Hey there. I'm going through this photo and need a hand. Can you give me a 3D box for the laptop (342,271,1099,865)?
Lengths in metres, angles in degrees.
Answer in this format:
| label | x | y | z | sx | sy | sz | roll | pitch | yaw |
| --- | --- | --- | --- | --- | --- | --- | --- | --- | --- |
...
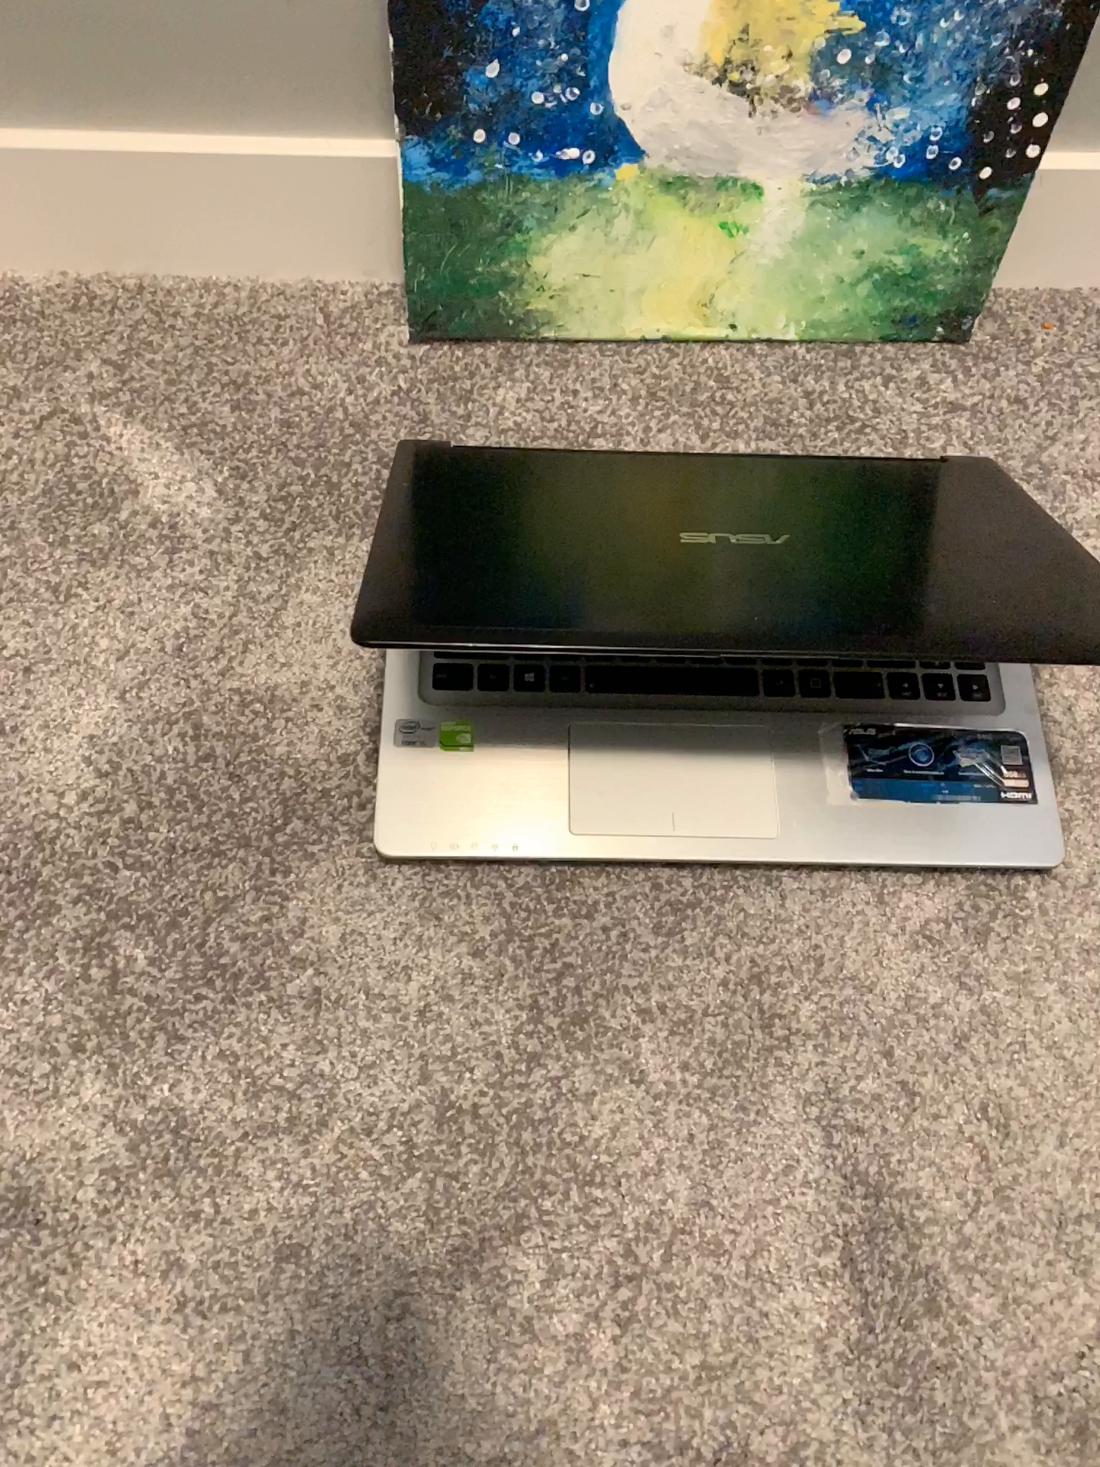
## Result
| label | x | y | z | sx | sy | sz | roll | pitch | yaw |
| --- | --- | --- | --- | --- | --- | --- | --- | --- | --- |
| laptop | 0.091 | -0.078 | 0.560 | 0.354 | 0.134 | 0.253 | 1 | 66 | -3 |
